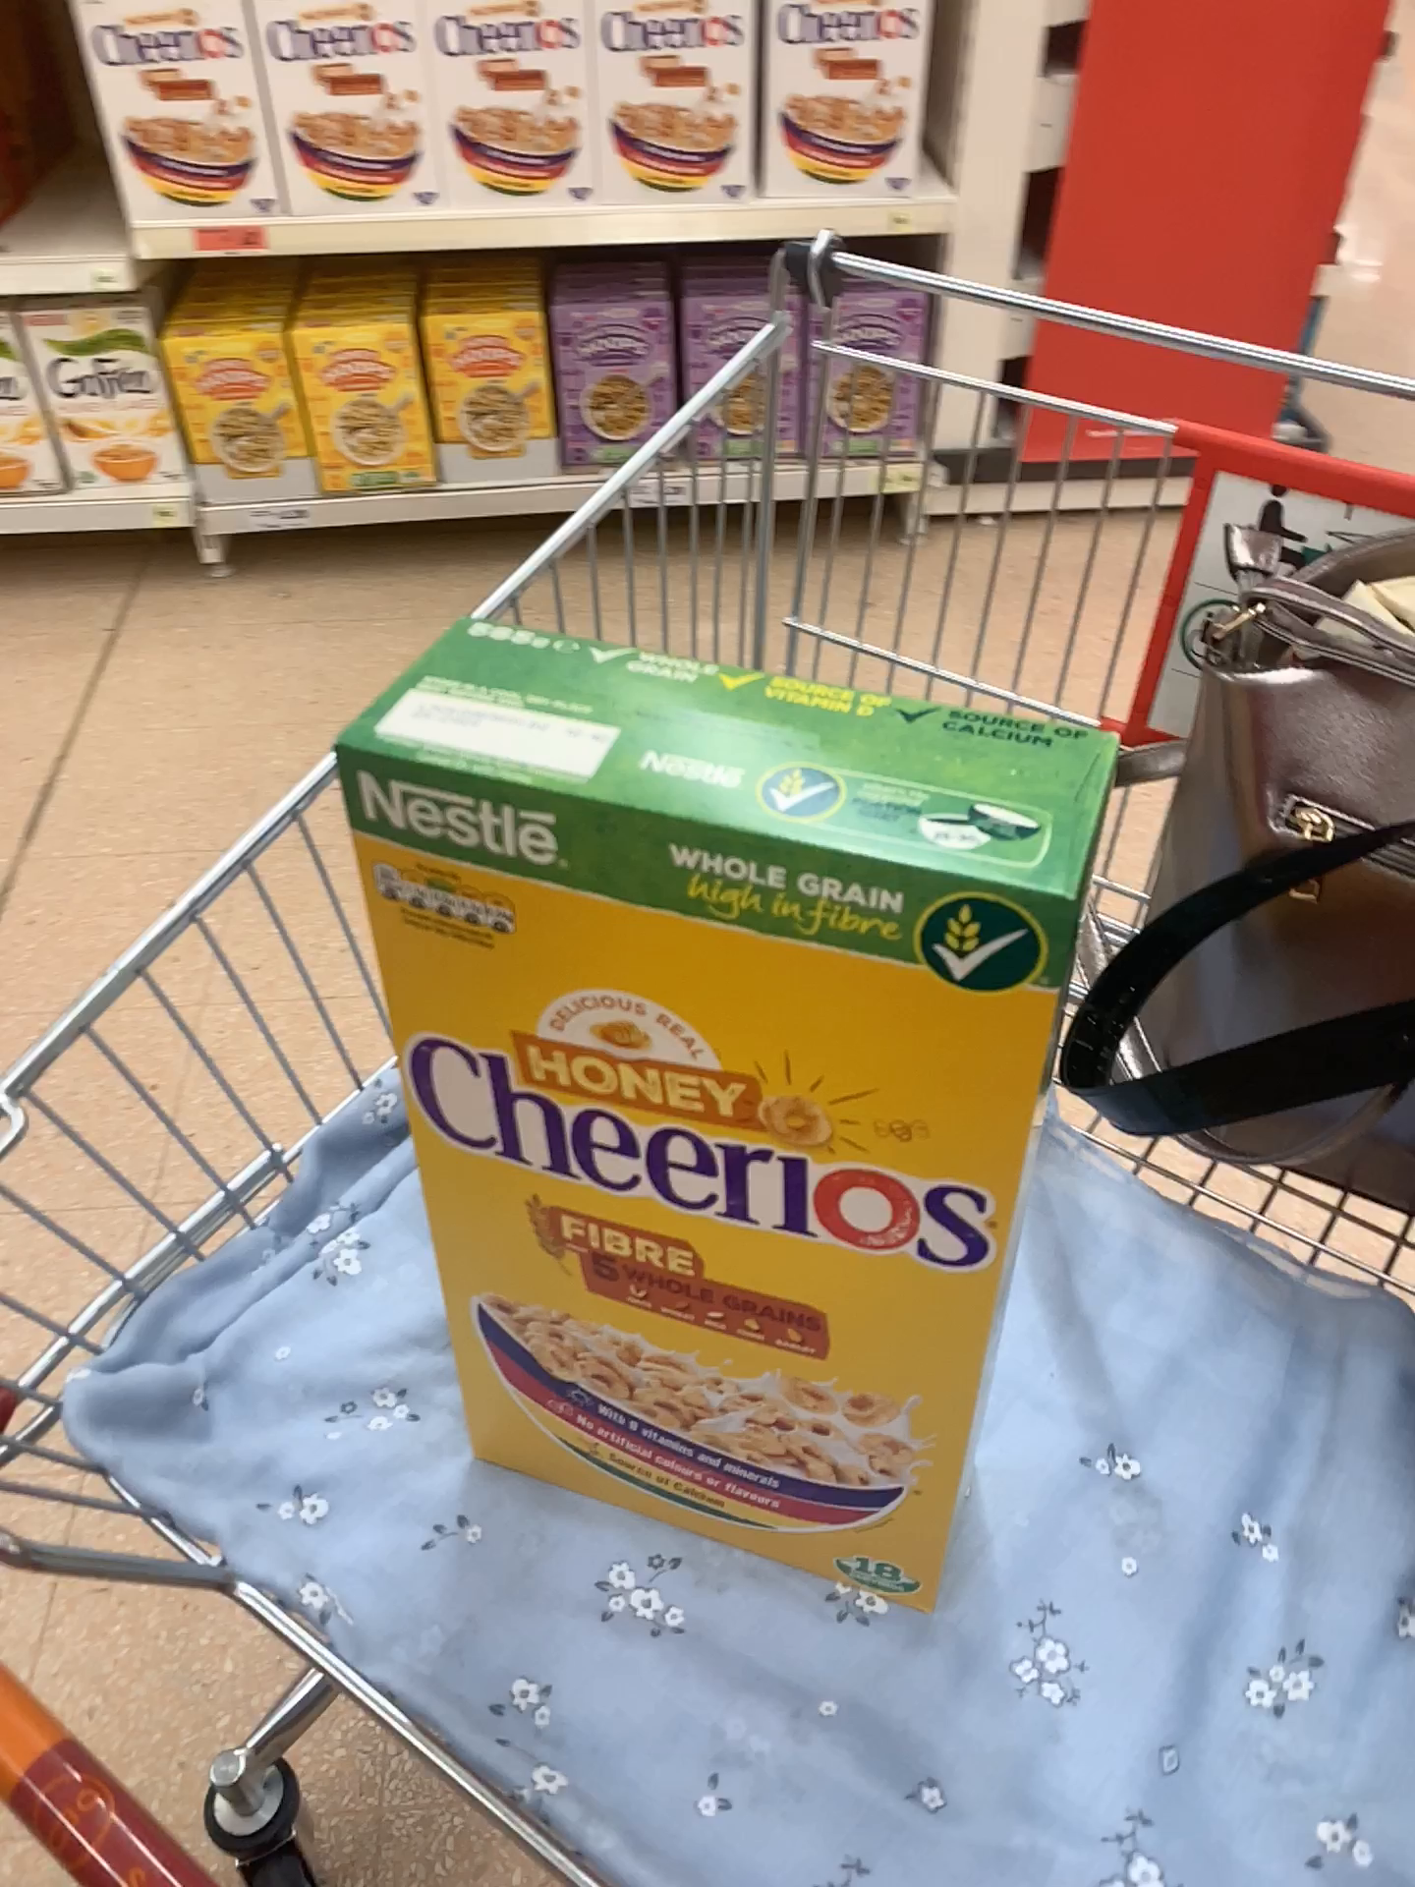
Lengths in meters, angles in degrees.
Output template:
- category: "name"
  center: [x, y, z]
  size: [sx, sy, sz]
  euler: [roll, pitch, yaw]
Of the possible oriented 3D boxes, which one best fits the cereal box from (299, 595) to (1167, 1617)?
- category: "cereal box"
  center: [0.007, 0.076, 0.485]
  size: [0.210, 0.347, 0.081]
  euler: [13, 42, 14]
